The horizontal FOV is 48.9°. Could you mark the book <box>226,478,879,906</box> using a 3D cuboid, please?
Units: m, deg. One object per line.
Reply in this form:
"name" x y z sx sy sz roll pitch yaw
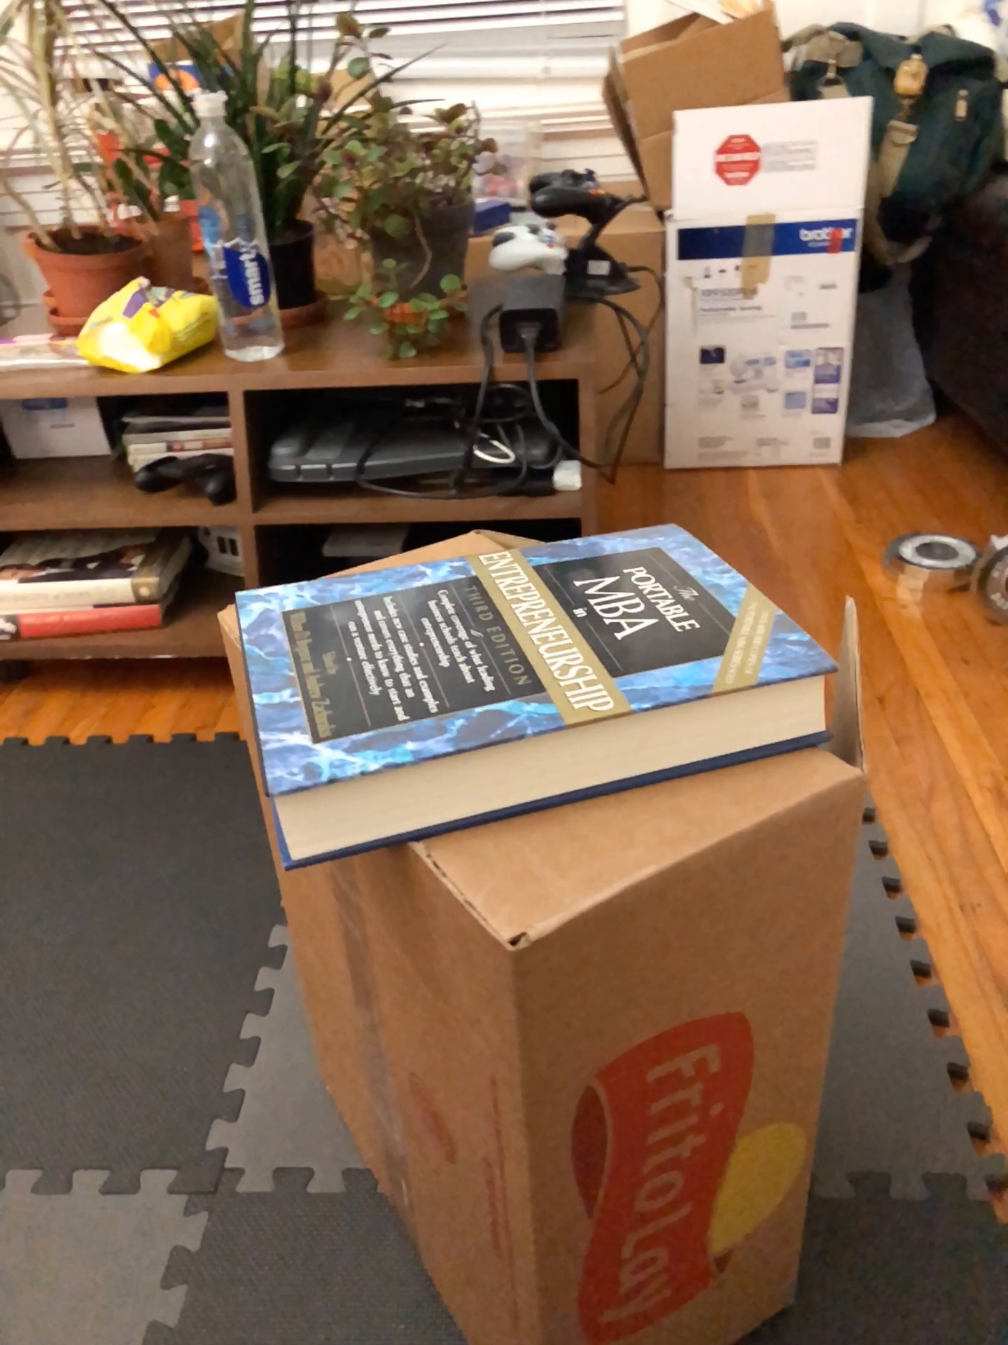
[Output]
"book" 0.008 -0.009 0.561 0.270 0.060 0.211 -13 32 -11
